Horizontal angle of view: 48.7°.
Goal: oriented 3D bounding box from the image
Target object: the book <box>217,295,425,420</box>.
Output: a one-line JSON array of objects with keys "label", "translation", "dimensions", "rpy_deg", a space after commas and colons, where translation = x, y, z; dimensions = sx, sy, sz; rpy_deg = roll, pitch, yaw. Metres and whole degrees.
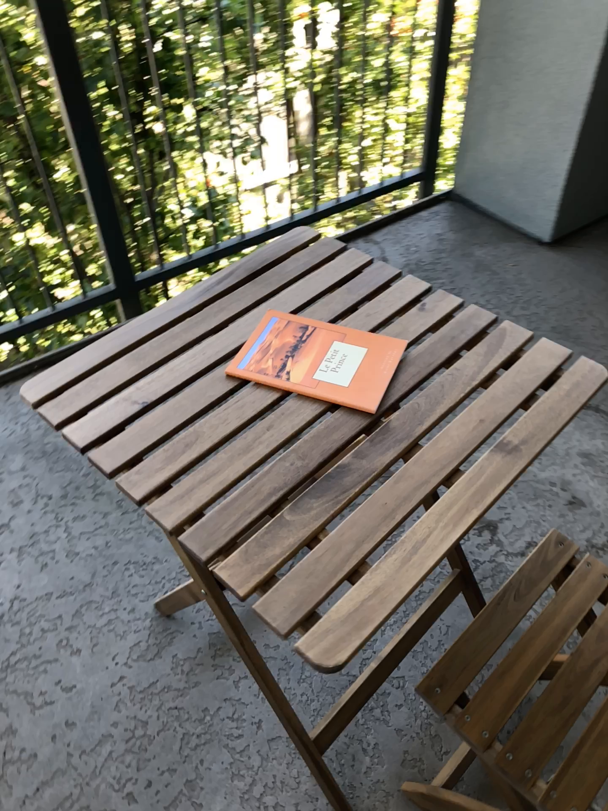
[{"label": "book", "translation": [0.028, -0.078, 0.969], "dimensions": [0.250, 0.010, 0.181], "rpy_deg": [16, 49, 17]}]
